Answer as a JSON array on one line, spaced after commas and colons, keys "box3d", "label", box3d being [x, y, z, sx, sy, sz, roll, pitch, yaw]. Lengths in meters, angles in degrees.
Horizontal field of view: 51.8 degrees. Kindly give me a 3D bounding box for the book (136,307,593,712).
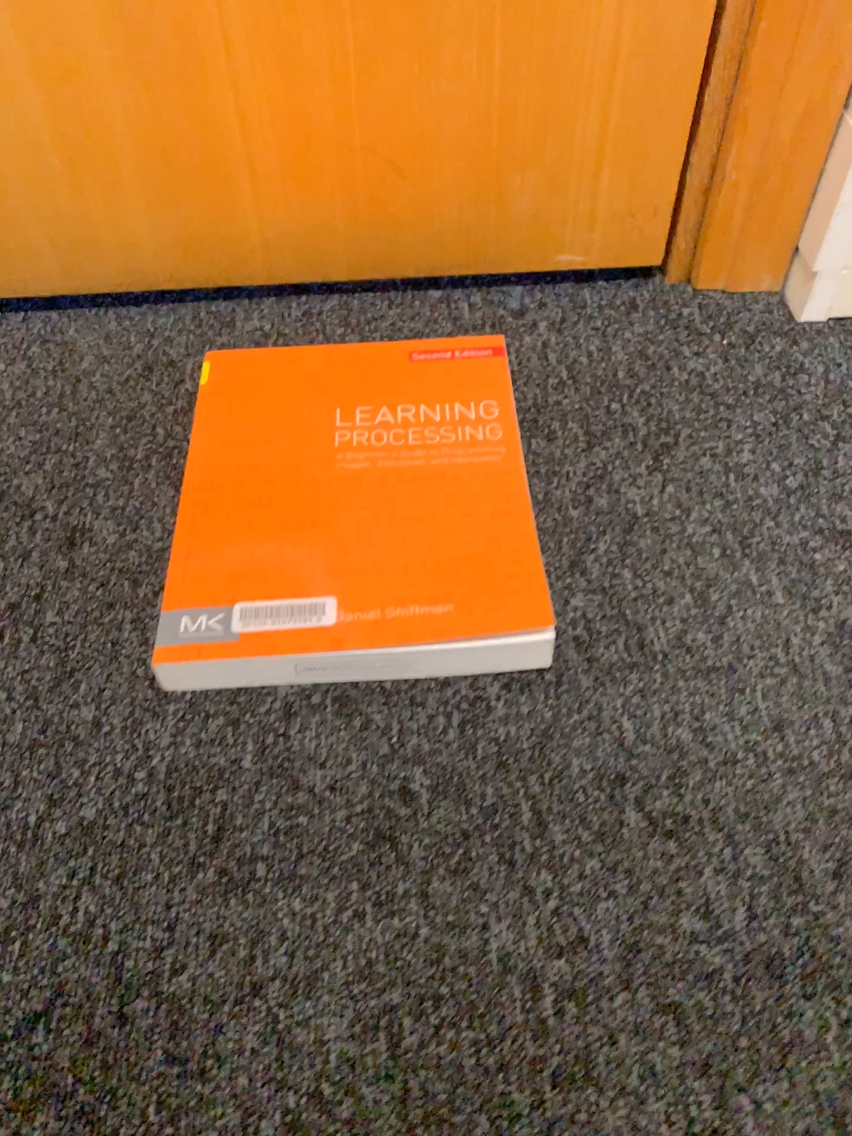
[{"box3d": [-0.034, -0.049, 0.501, 0.210, 0.040, 0.262, -3, 51, -1], "label": "book"}]
